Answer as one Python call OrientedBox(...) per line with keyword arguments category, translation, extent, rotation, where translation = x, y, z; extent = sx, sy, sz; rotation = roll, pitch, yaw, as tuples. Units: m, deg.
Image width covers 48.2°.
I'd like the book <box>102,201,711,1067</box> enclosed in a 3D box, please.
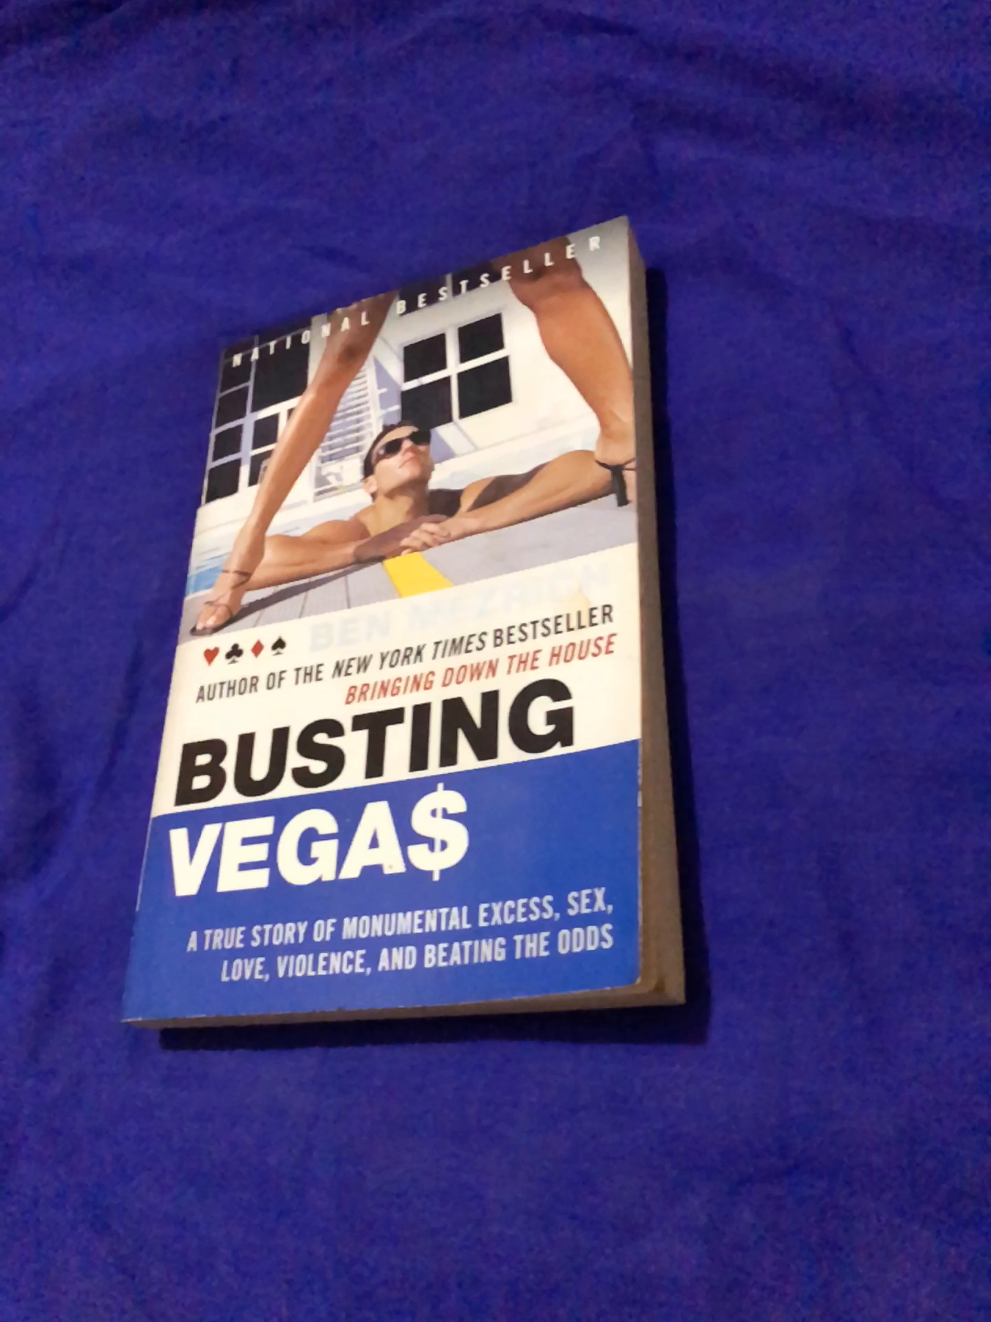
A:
OrientedBox(category="book", translation=(-0.019, -0.009, 0.289), extent=(0.130, 0.040, 0.210), rotation=(-10, 62, 23))
